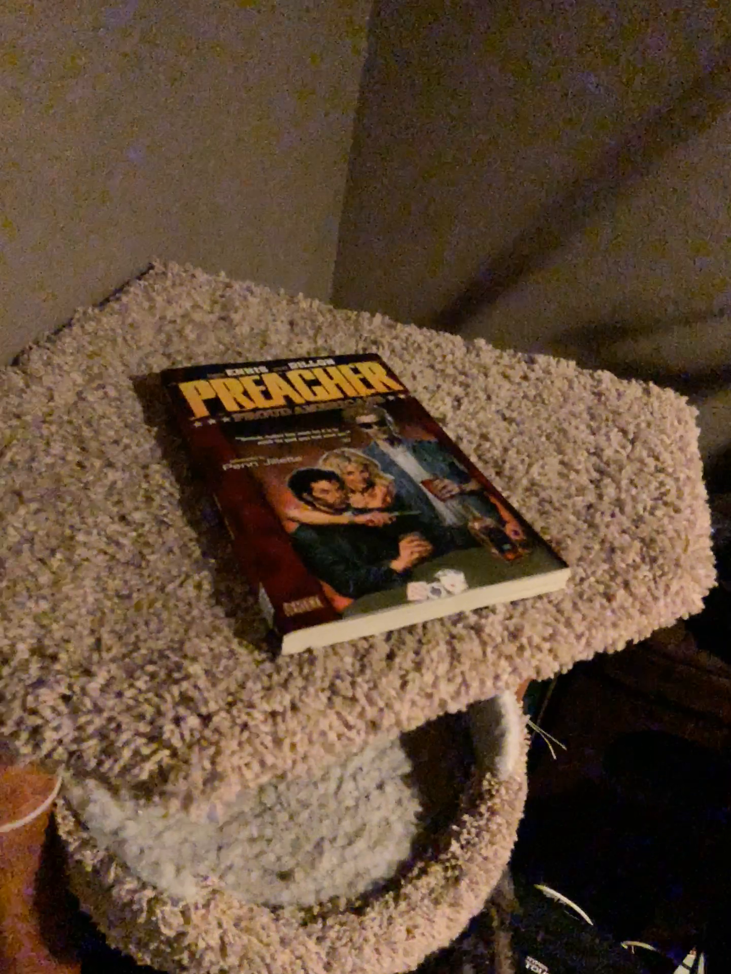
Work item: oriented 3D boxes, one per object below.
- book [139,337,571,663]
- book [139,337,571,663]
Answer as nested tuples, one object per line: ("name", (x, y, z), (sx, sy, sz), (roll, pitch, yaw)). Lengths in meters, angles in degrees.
("book", (-0.023, -0.017, 0.502), (0.170, 0.020, 0.270), (-9, 40, -25))
("book", (-0.023, -0.017, 0.502), (0.170, 0.020, 0.270), (-9, 40, -25))
